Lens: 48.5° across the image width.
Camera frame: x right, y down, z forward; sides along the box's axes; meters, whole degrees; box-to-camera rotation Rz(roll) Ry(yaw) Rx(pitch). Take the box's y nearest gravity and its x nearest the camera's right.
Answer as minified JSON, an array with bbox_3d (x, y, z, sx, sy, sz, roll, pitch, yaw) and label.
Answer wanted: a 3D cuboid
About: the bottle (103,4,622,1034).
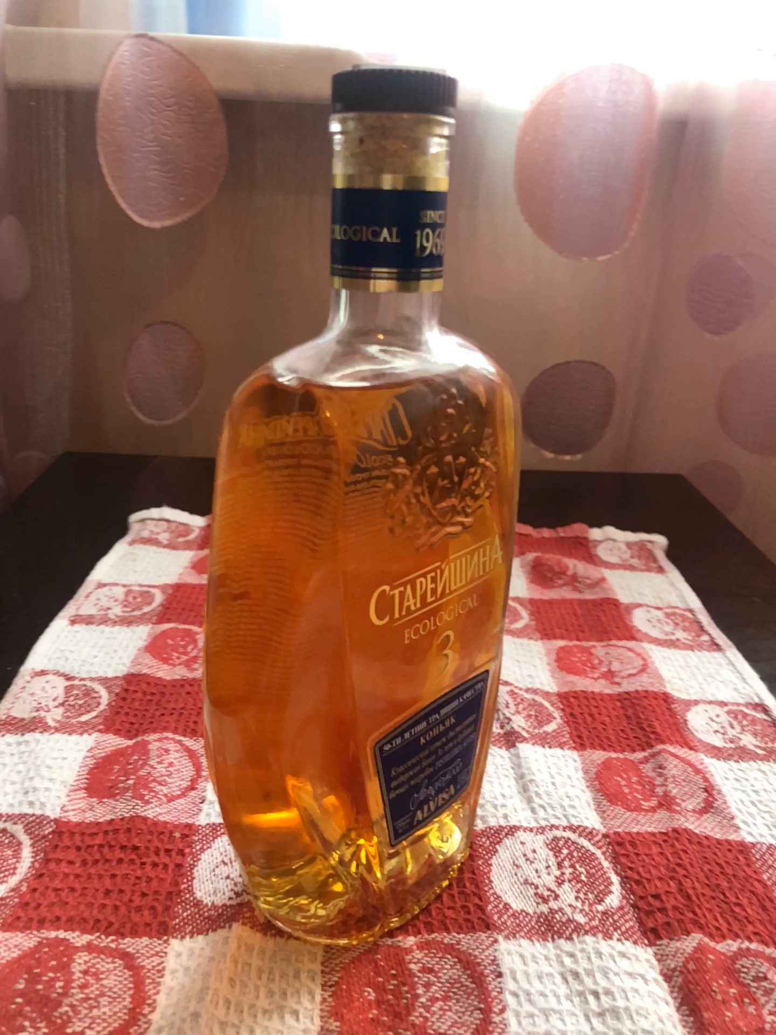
[{"bbox_3d":[-0.004,0.004,0.225,0.050,0.219,0.110,20,26,39],"label":"bottle"}]
